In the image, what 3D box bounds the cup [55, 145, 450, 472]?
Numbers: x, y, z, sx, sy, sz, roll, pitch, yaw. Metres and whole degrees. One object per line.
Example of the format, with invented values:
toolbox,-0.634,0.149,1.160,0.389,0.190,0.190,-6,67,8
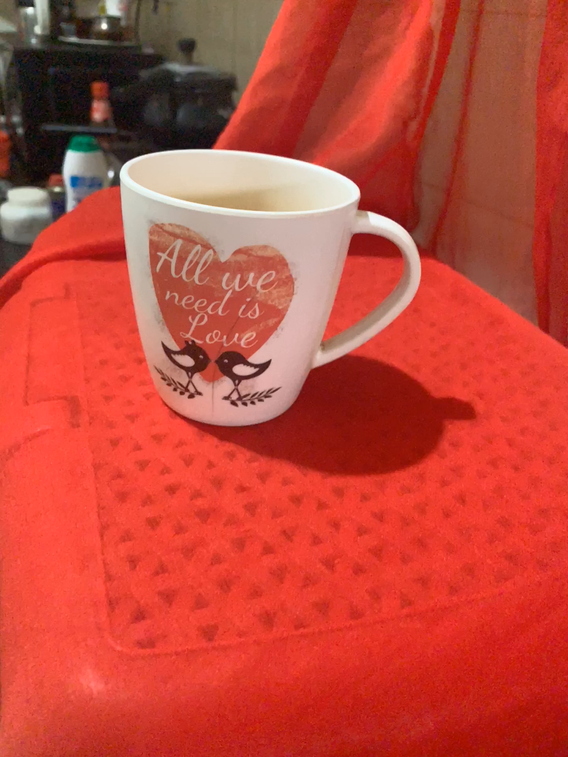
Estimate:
cup,-0.009,-0.032,0.224,0.110,0.079,0.091,7,31,2
